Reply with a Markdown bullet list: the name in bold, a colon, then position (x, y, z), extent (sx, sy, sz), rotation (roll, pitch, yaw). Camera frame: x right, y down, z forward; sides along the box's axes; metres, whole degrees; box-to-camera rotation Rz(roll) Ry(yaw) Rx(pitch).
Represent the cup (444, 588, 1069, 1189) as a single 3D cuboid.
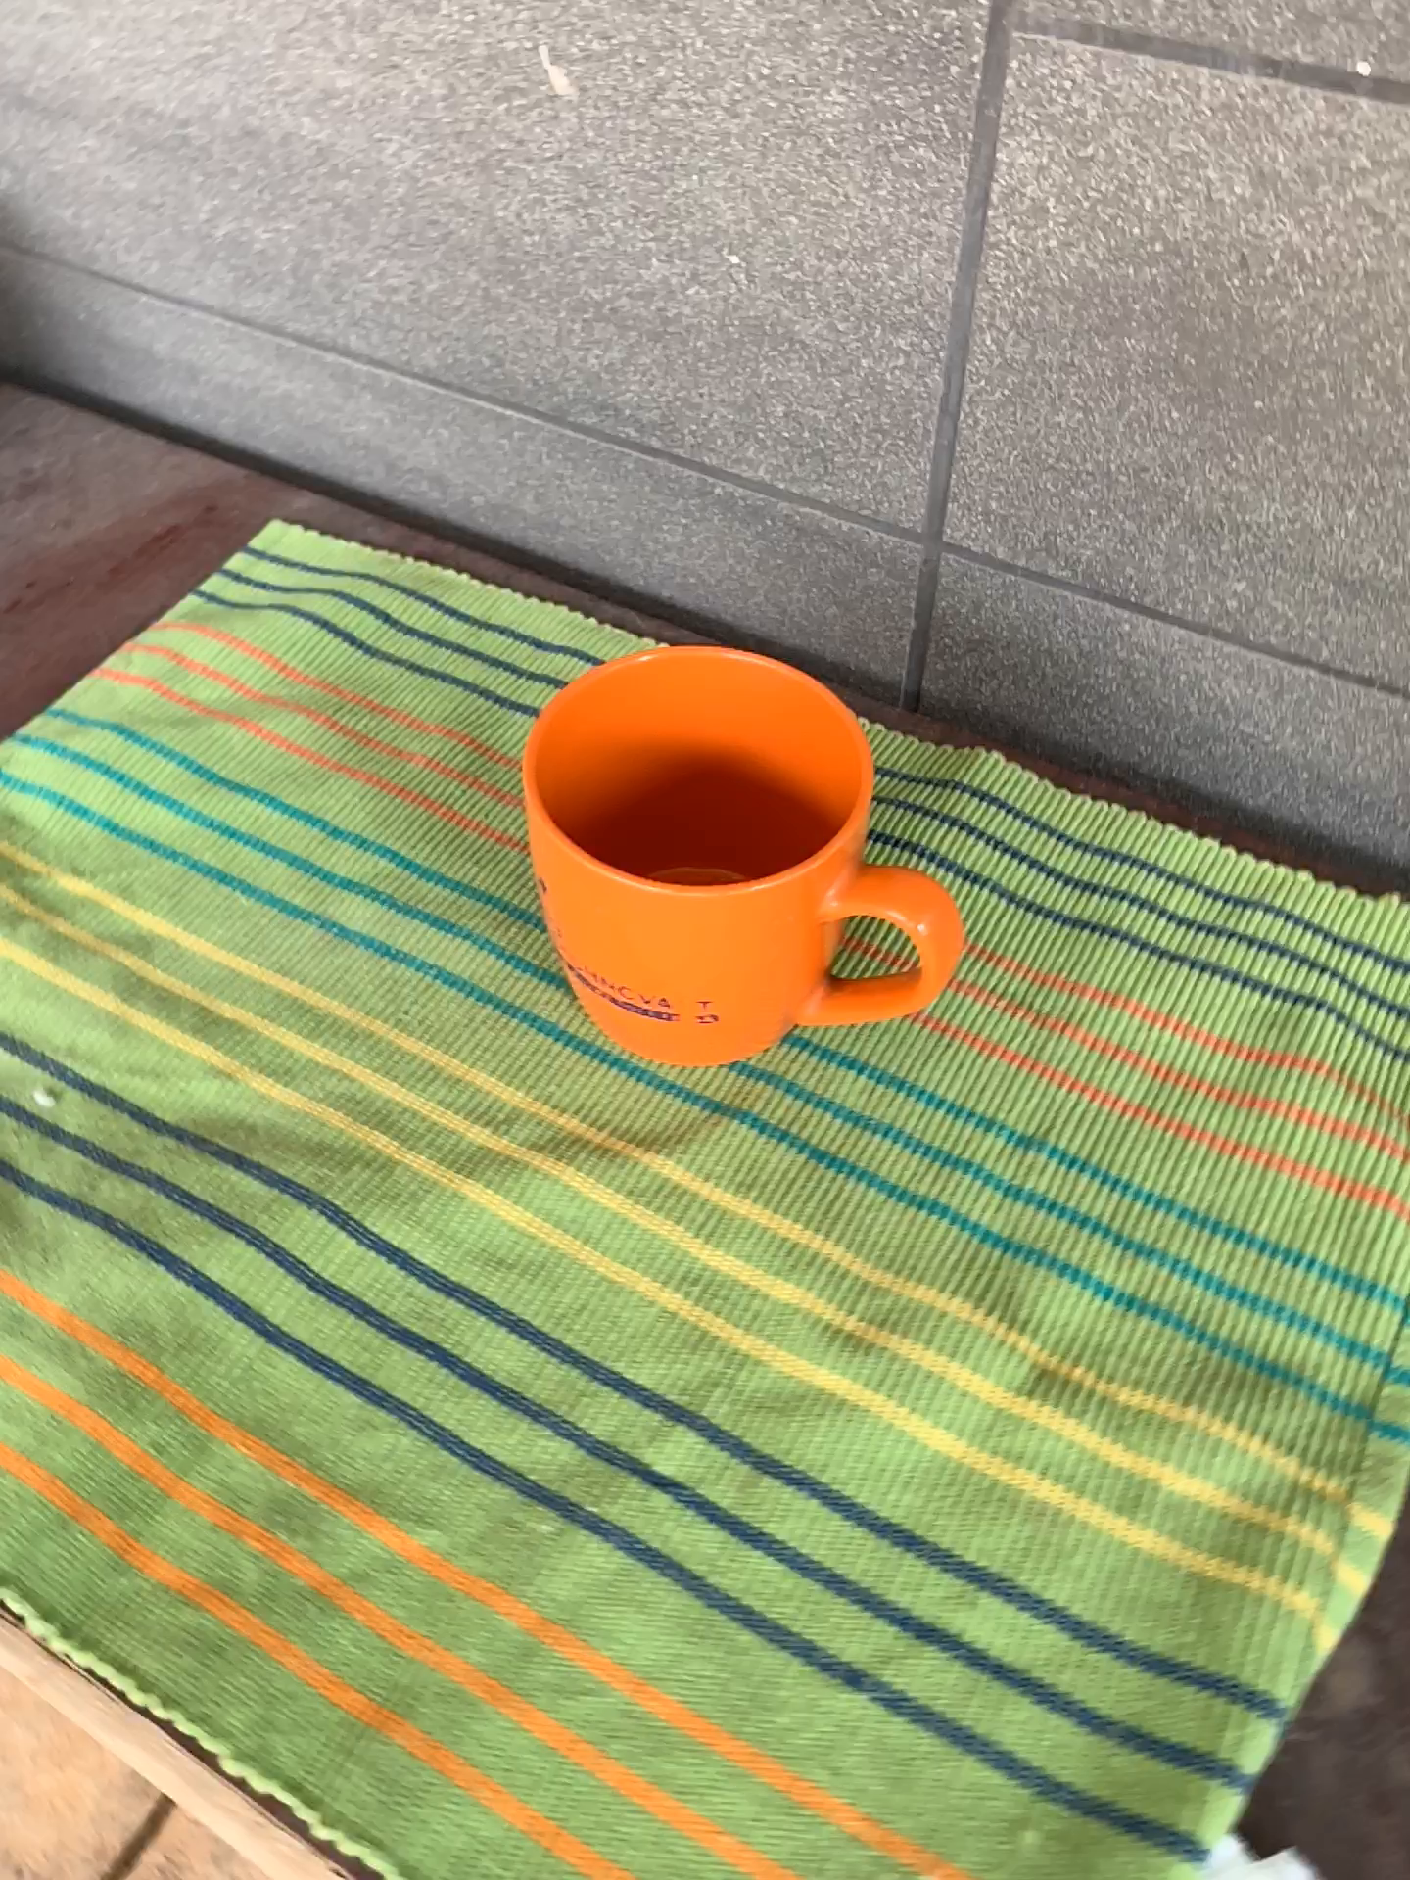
- **cup**: position (0.014, -0.017, 0.375), extent (0.120, 0.080, 0.090), rotation (23, 52, 19)
